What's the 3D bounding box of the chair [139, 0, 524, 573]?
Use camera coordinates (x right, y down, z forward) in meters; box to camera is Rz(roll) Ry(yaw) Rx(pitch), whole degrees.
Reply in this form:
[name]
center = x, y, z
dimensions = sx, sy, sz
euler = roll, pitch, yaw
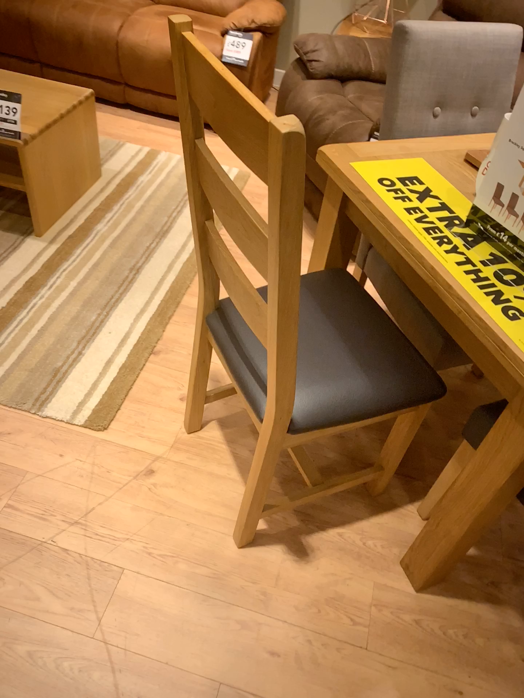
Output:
[chair]
center = 0.125, -0.094, 1.114
dimensions = 0.578, 0.959, 0.558
euler = -15, 51, -23
